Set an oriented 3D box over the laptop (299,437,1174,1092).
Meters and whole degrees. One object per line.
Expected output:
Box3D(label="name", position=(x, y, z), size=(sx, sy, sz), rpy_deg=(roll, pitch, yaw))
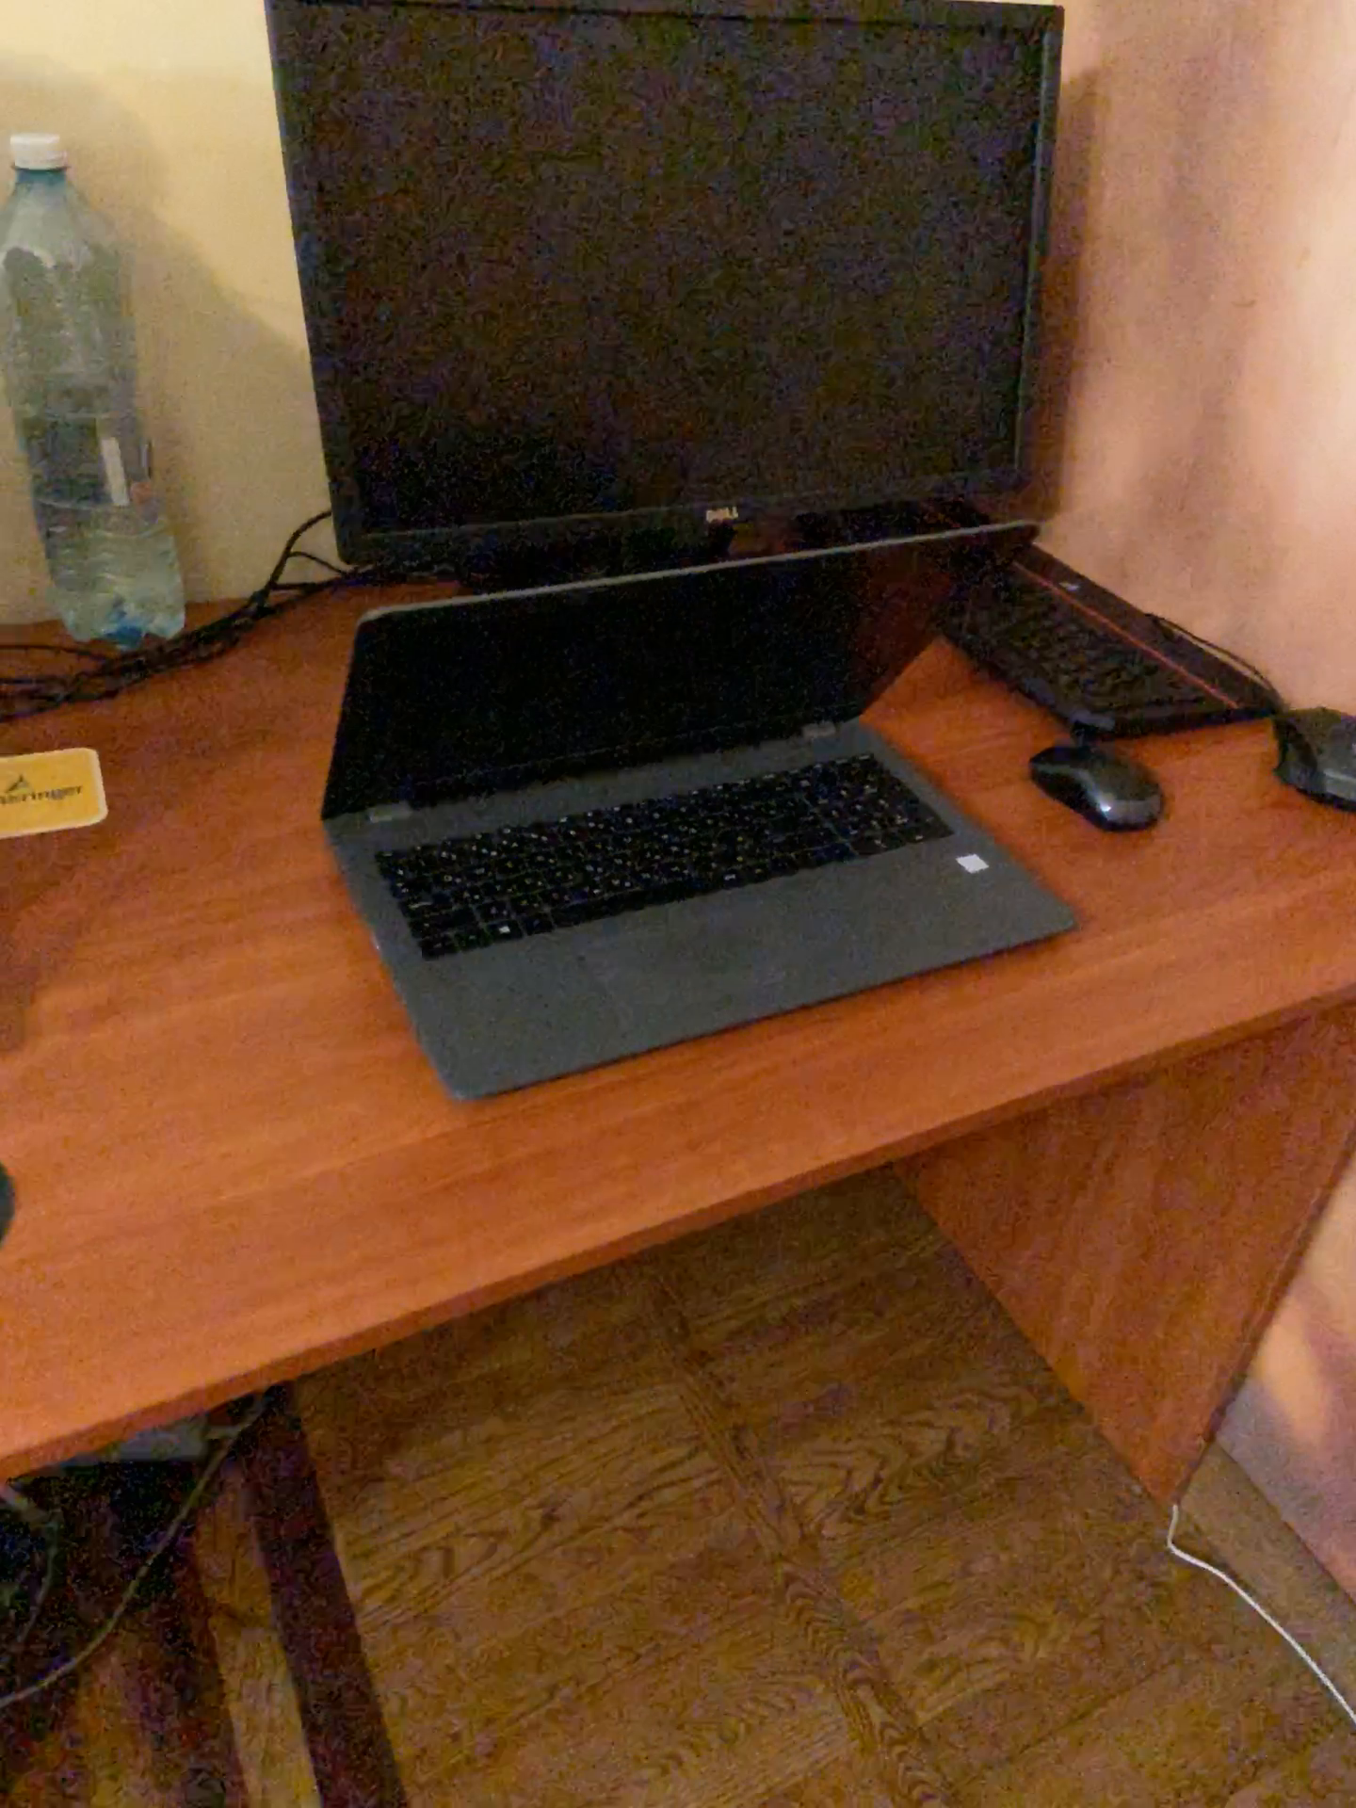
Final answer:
Box3D(label="laptop", position=(0.018, -0.096, 0.727), size=(0.360, 0.191, 0.233), rpy_deg=(-14, 41, -23))
